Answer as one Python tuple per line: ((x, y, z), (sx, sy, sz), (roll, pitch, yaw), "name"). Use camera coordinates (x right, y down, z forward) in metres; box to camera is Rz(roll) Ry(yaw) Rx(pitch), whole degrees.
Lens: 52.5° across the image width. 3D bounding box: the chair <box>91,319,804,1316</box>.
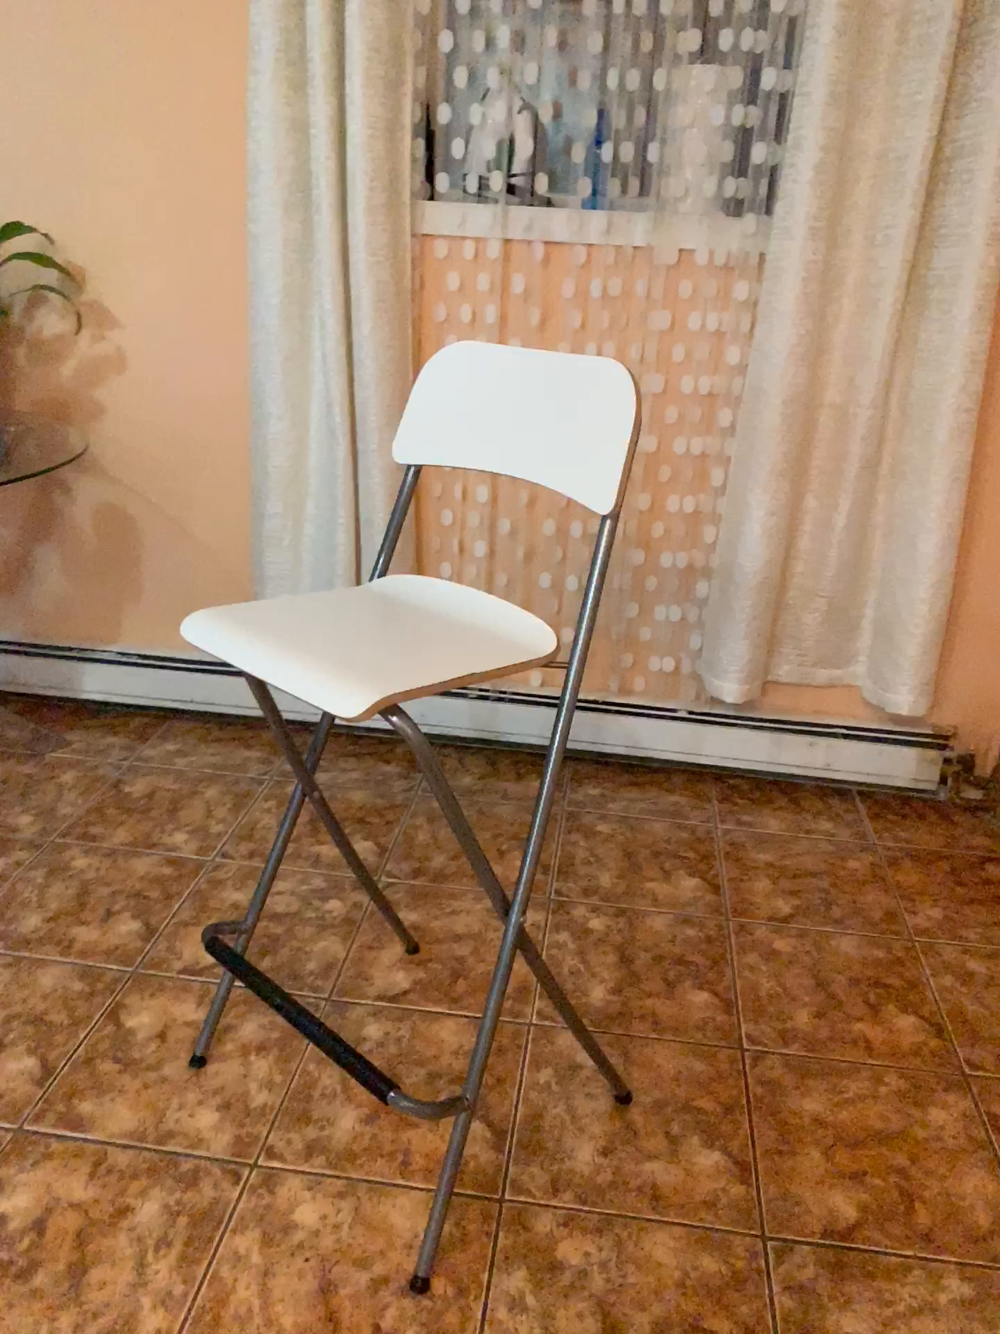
((-0.091, 0.107, 1.329), (0.600, 1.007, 0.544), (21, 26, 36), "chair")
